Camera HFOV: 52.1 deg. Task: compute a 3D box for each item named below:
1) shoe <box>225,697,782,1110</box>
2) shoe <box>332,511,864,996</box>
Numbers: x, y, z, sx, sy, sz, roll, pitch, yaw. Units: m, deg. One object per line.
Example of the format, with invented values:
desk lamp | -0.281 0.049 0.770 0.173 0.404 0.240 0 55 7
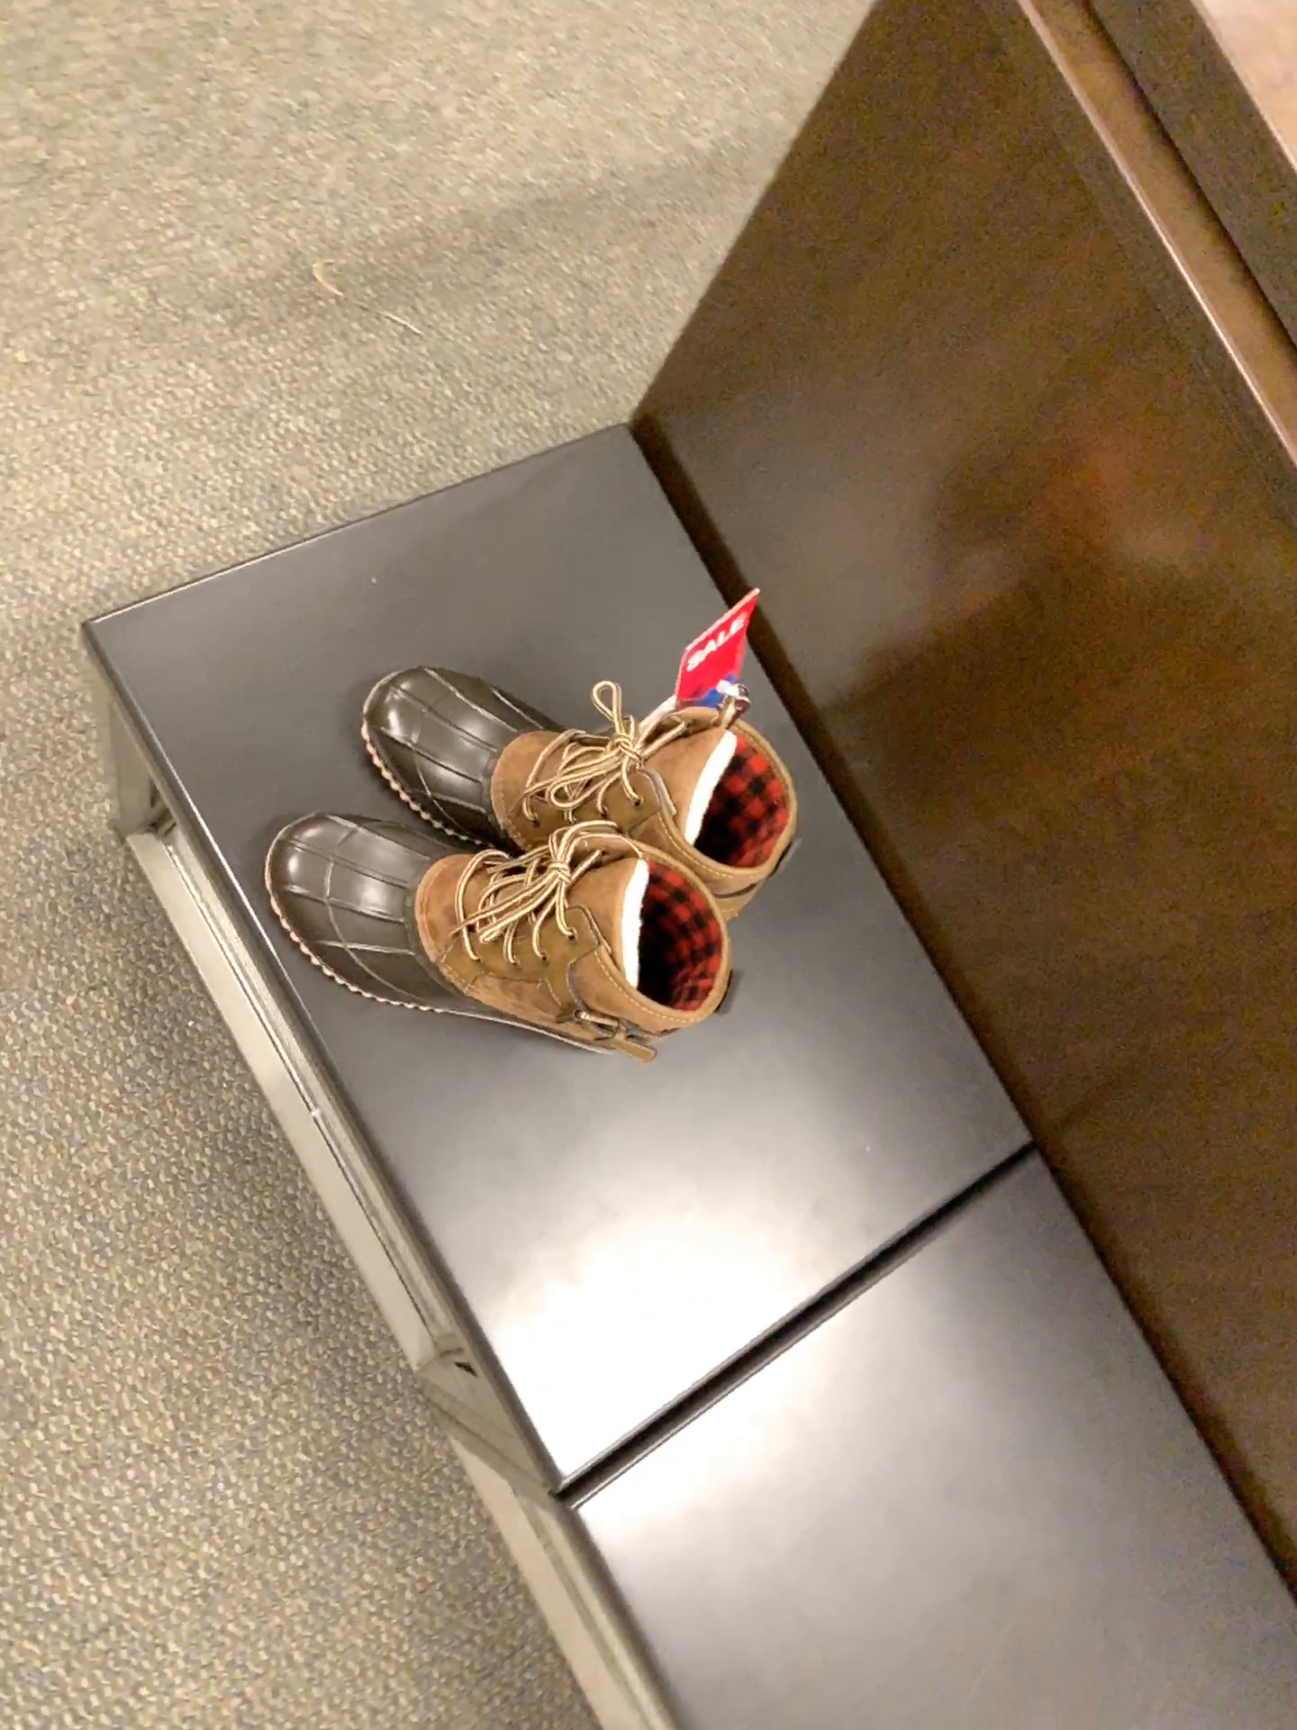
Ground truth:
shoe | -0.080 0.032 0.688 0.240 0.150 0.100 24 70 -13
shoe | -0.034 -0.048 0.720 0.240 0.150 0.100 36 67 -8
